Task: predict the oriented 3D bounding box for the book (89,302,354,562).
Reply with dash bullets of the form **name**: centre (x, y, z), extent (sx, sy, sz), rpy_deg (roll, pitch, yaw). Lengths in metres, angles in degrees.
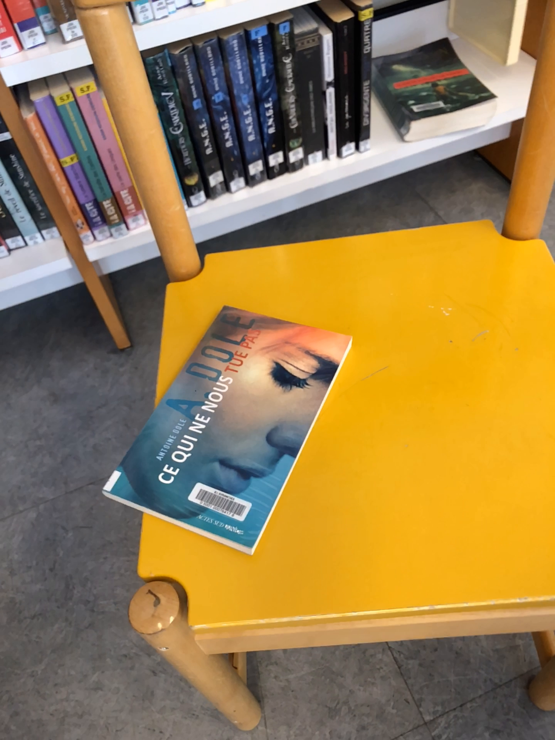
- **book**: centre (-0.039, 0.036, 0.514), extent (0.140, 0.016, 0.213), rpy_deg (16, 55, 20)
